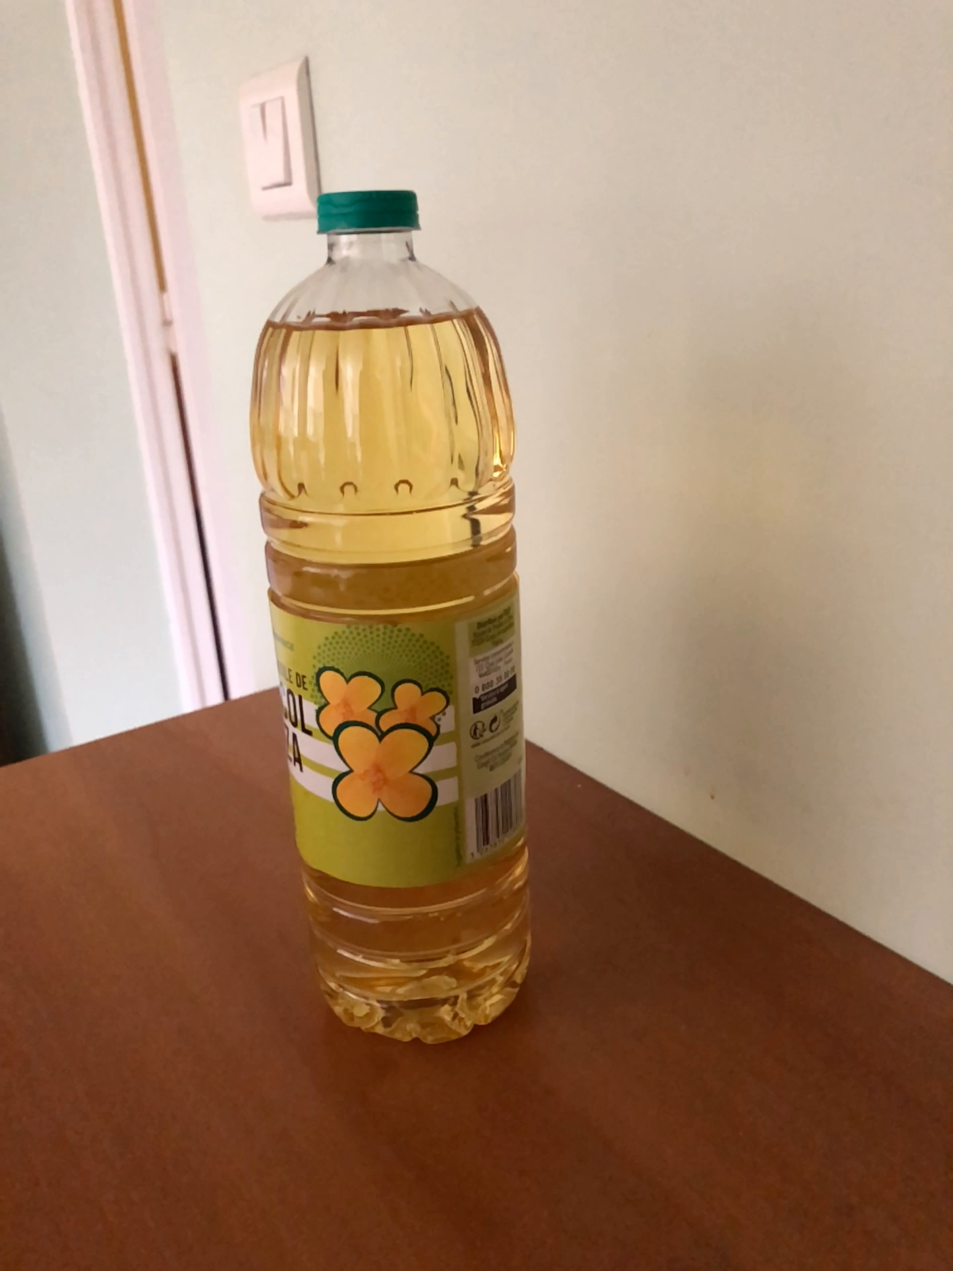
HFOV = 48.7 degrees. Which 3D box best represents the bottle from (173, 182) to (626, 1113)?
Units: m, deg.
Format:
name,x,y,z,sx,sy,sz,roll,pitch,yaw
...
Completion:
name,x,y,z,sx,sy,sz,roll,pitch,yaw
bottle,-0.015,0.001,0.344,0.090,0.269,0.090,-3,20,1
